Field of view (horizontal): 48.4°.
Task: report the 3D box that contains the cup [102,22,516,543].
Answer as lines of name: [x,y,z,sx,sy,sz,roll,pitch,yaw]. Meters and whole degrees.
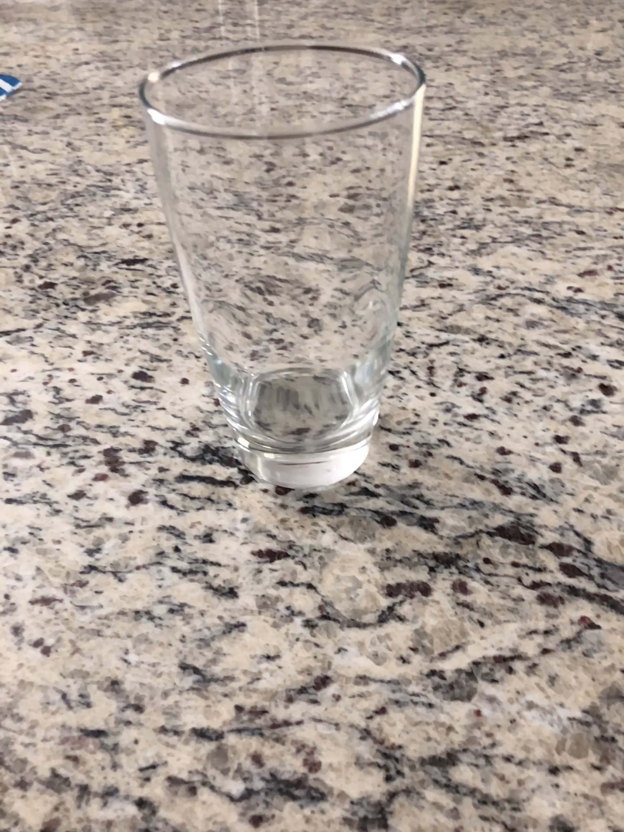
cup: [-0.001,-0.046,0.244,0.090,0.139,0.080,-23,45,-22]
